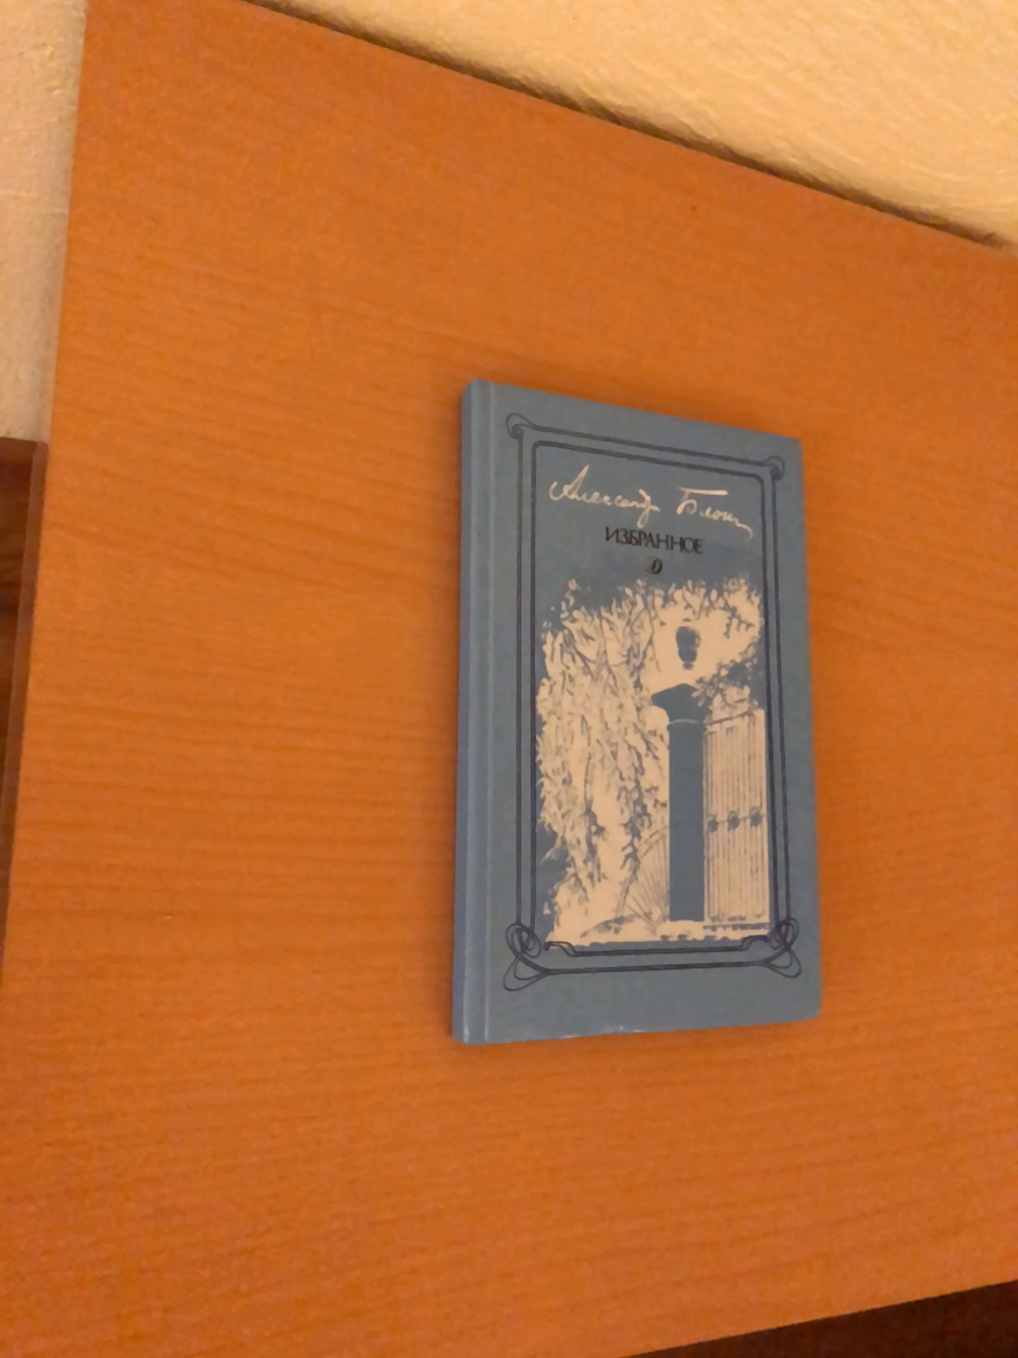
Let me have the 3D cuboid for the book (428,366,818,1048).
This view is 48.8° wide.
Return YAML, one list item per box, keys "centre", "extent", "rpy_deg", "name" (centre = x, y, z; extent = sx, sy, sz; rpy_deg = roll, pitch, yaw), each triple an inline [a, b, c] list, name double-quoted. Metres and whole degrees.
- centre: [0.040, 0.009, 0.380]
  extent: [0.135, 0.020, 0.210]
  rpy_deg: [4, 81, -24]
  name: "book"
